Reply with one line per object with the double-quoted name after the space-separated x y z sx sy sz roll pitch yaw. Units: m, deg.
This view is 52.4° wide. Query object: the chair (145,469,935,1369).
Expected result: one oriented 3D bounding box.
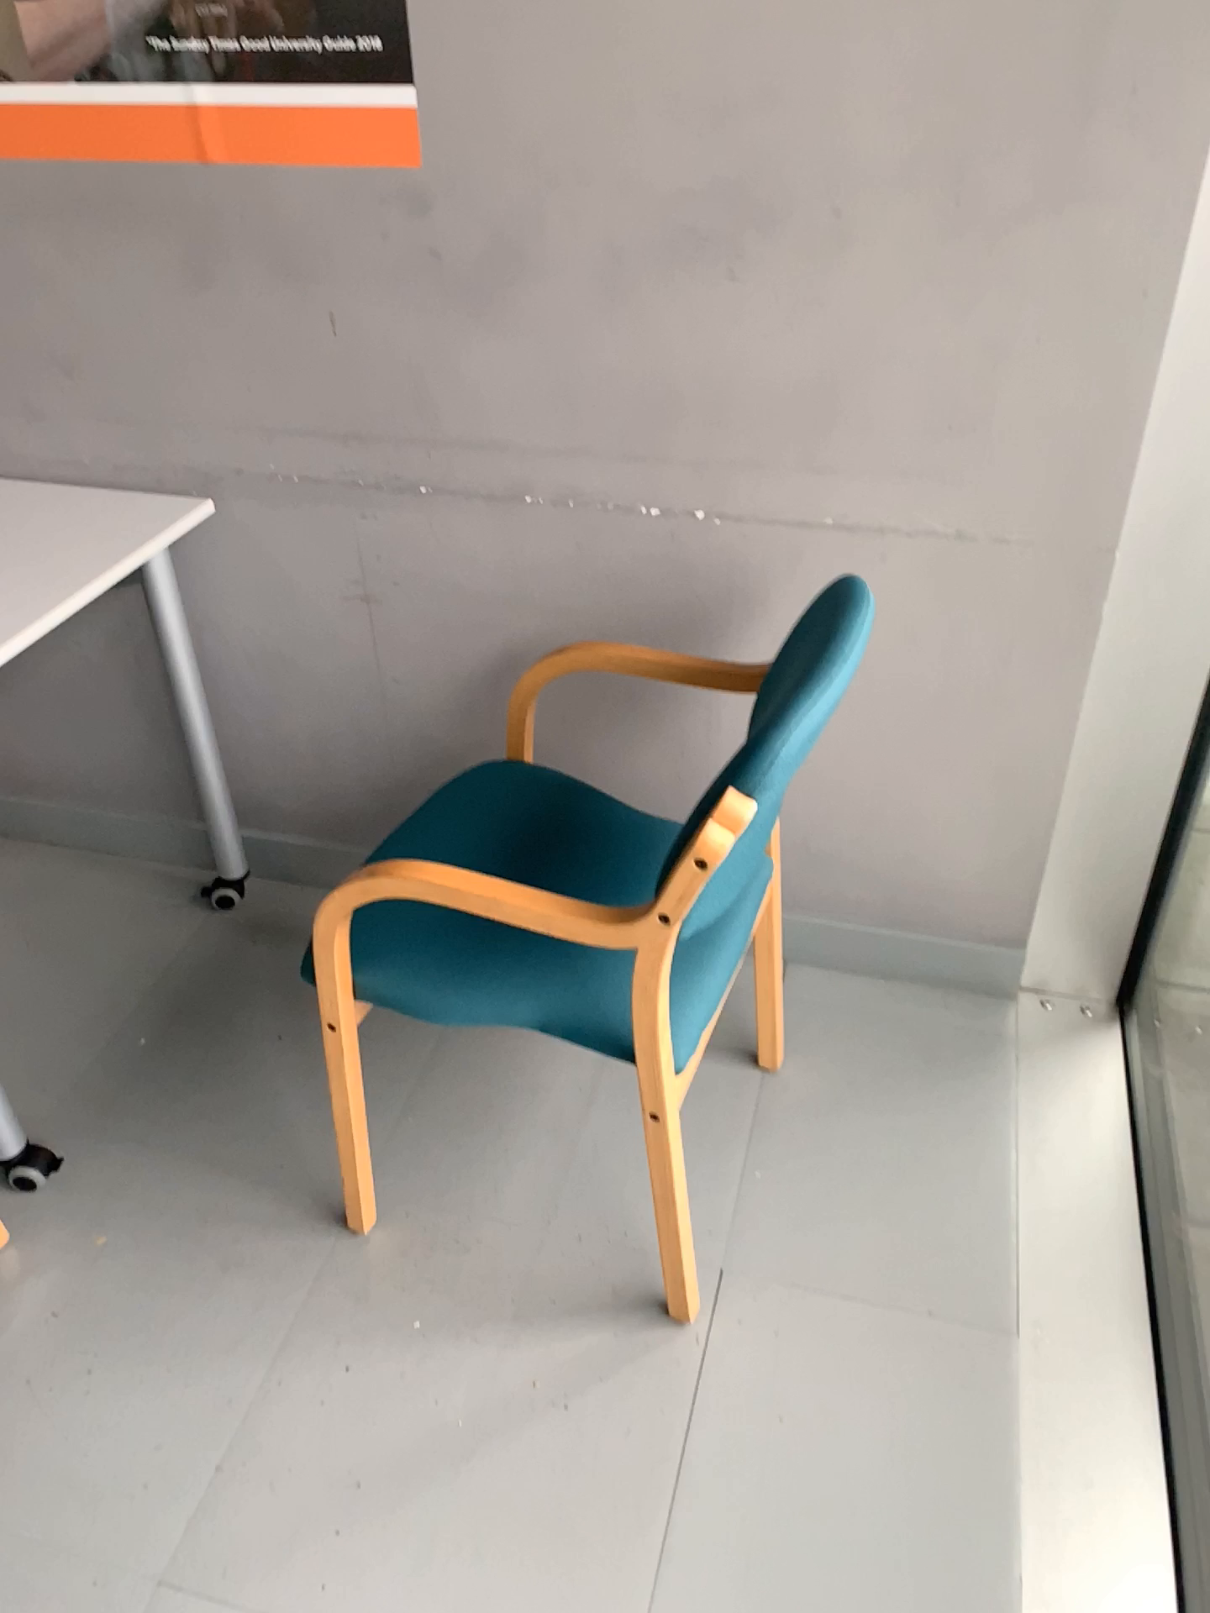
-0.003 0.082 1.506 0.641 0.723 0.686 9 36 15 "chair"
